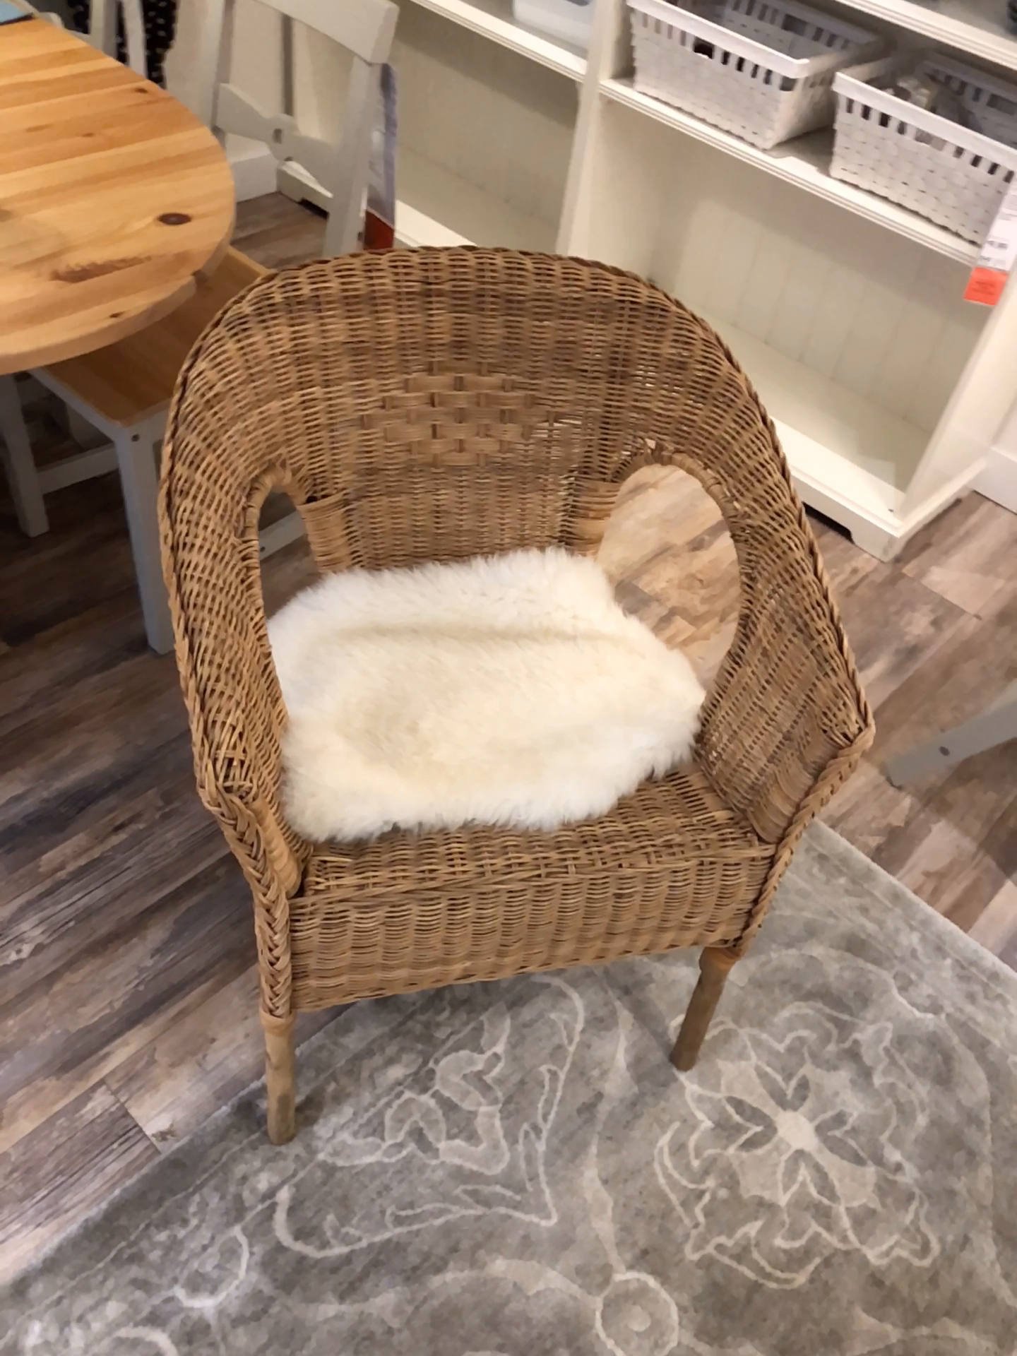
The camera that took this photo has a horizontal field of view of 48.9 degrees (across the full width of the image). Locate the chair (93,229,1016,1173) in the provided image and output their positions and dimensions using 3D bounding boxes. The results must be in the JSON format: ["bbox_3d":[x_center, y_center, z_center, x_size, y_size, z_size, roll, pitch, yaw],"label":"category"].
[{"bbox_3d":[-0.033,0.022,1.198,0.650,0.717,0.632,-4,47,-13],"label":"chair"}]
